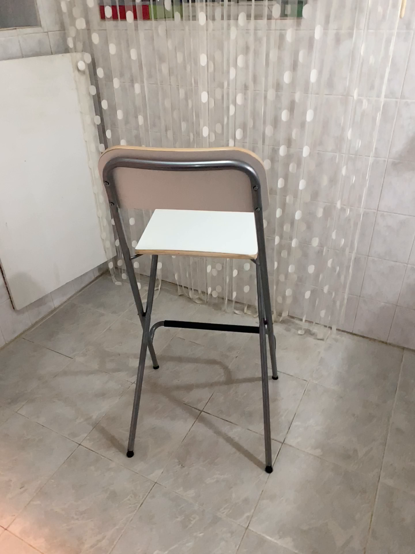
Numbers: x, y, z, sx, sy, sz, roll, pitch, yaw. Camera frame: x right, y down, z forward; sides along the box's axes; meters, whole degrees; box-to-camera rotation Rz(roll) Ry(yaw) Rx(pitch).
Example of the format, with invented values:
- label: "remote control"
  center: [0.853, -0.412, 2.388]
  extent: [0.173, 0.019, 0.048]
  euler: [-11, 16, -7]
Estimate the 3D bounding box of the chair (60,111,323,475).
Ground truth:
- label: "chair"
  center: [-0.008, 0.067, 1.312]
  extent: [0.537, 1.008, 0.468]
  euler: [3, 32, 6]
